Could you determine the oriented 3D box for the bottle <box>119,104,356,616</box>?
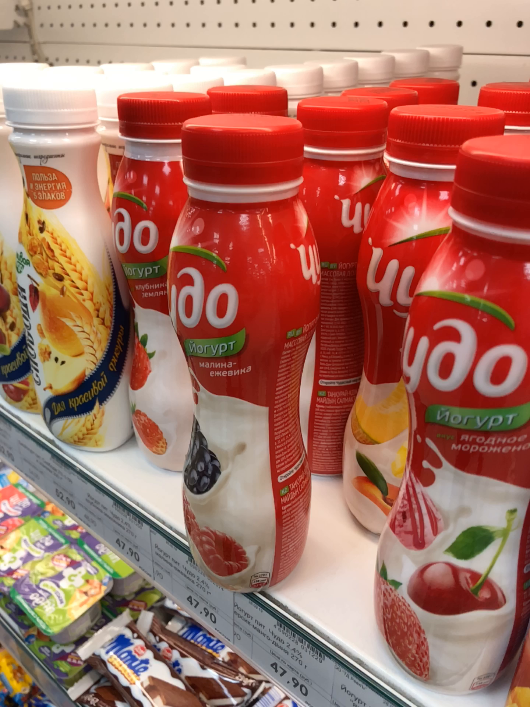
[{"bbox_3d":[-0.008,0.007,0.225,0.050,0.181,0.054,-1,29,0],"label":"bottle"}]

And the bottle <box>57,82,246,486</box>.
[{"bbox_3d":[-0.049,-0.030,0.288,0.054,0.181,0.050,-1,29,0],"label":"bottle"}]

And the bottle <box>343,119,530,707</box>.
[{"bbox_3d":[0.066,0.028,0.186,0.054,0.181,0.050,-1,29,0],"label":"bottle"}]
